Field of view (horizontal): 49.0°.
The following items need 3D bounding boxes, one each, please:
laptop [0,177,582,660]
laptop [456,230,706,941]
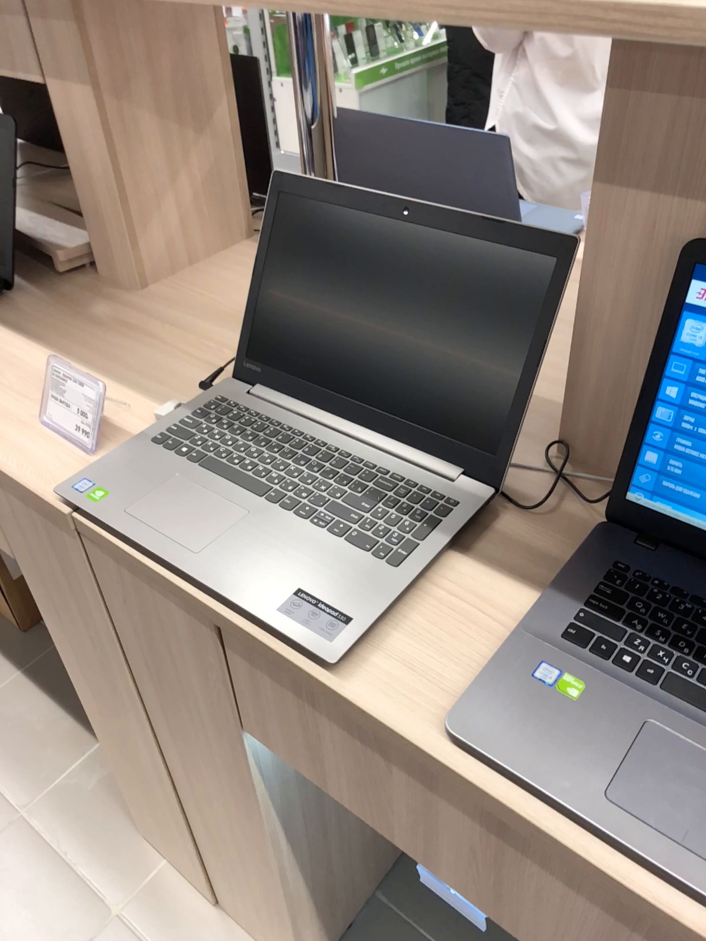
[{"bbox_3d":[-0.051,-0.094,0.739,0.371,0.208,0.366,24,46,32],"label":"laptop"},{"bbox_3d":[0.320,0.072,0.469,0.403,0.246,0.335,25,47,32],"label":"laptop"}]
